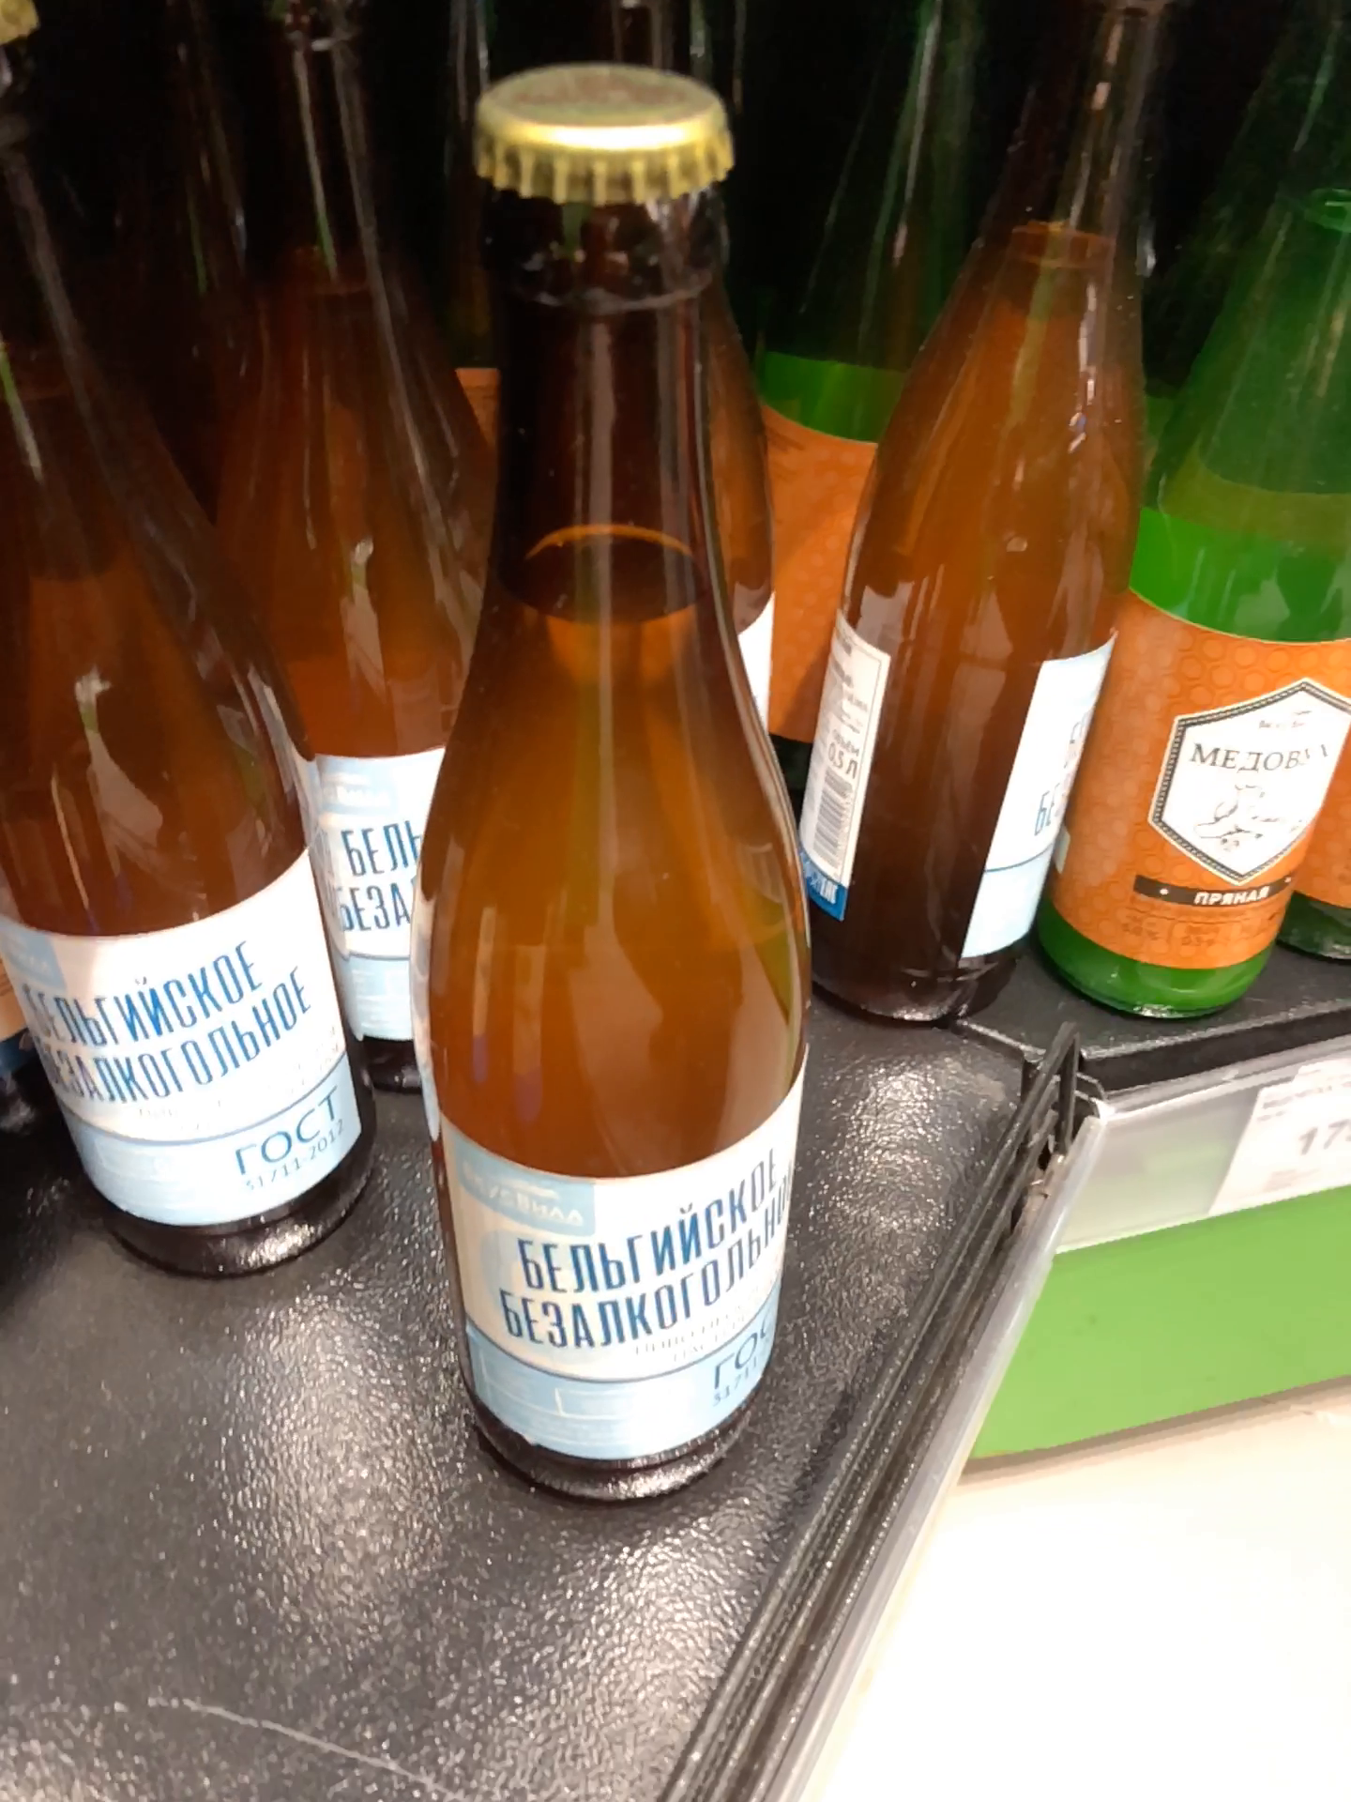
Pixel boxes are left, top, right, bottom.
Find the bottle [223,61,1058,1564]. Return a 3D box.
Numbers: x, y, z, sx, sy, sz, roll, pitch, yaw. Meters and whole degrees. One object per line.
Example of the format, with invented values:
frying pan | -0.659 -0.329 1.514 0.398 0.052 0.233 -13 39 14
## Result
bottle | -0.014 0.008 0.259 0.080 0.254 0.080 1 41 -1
